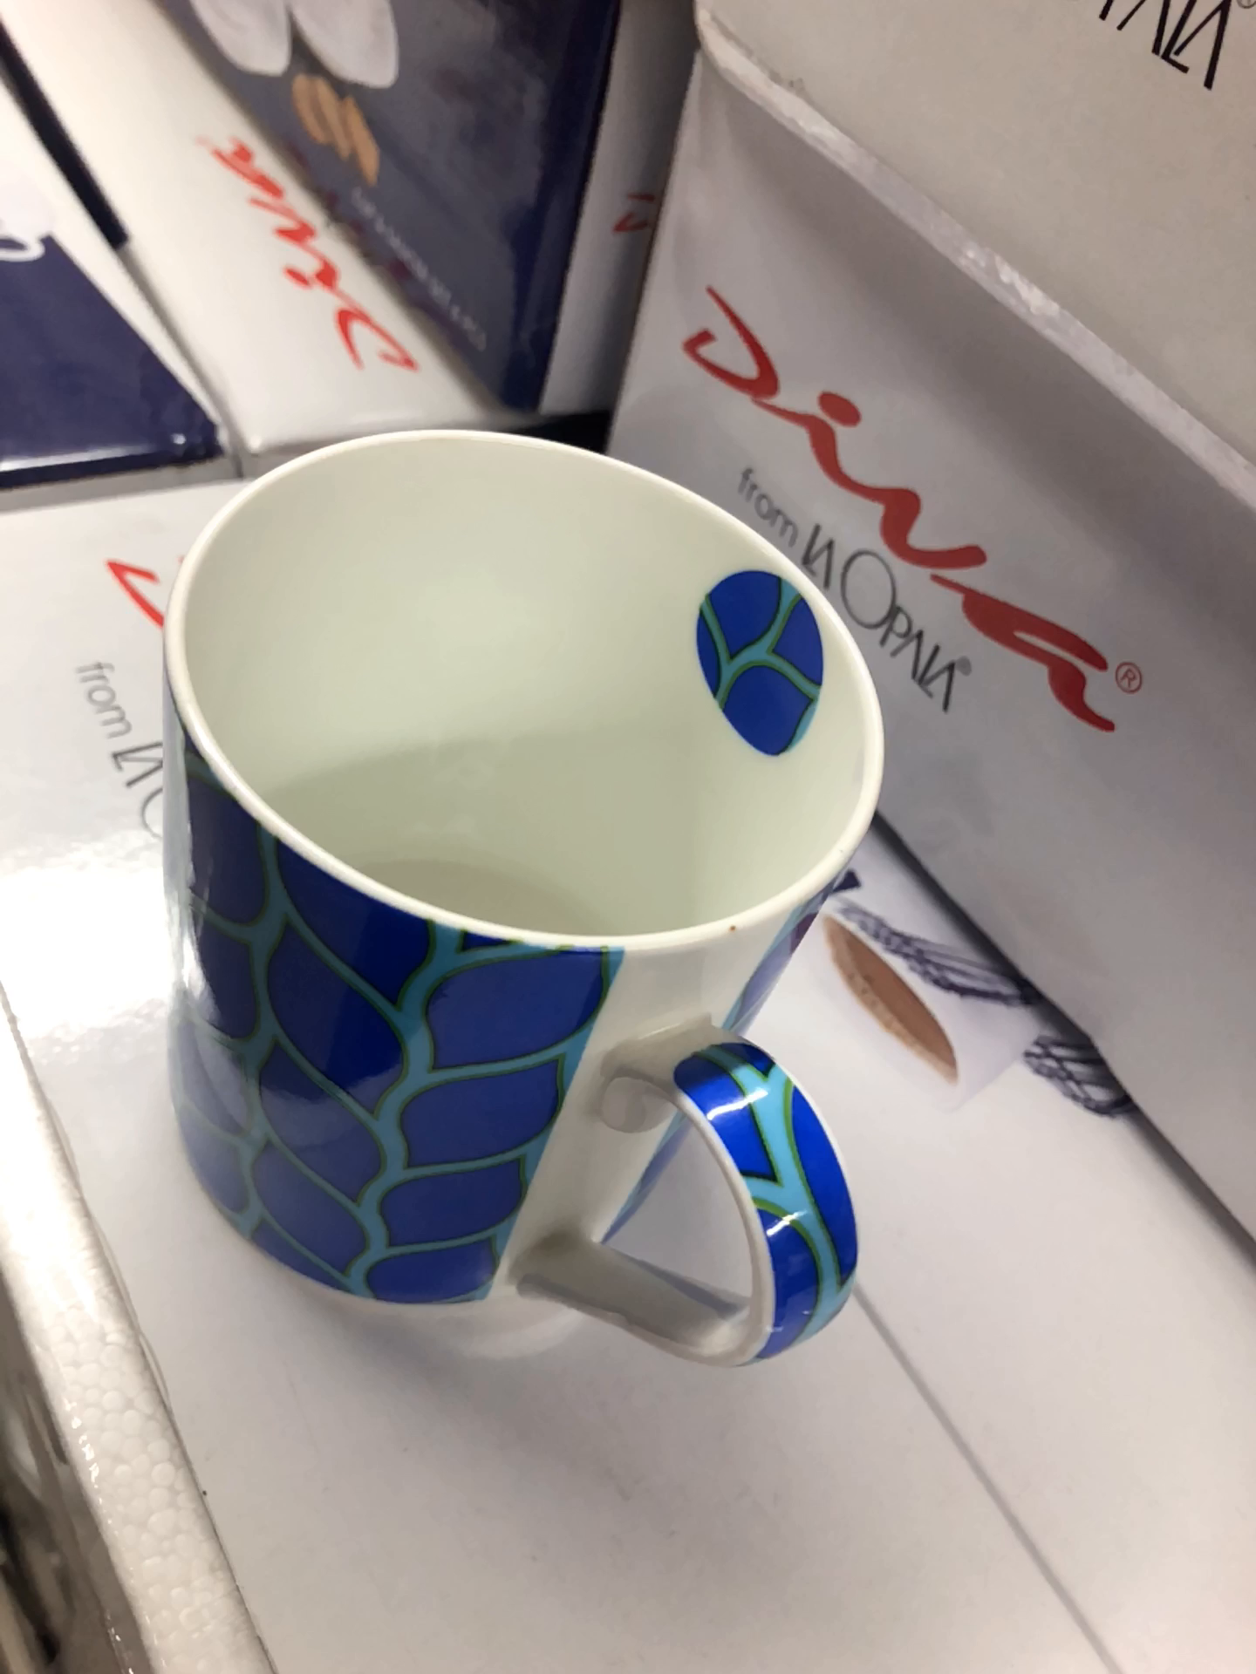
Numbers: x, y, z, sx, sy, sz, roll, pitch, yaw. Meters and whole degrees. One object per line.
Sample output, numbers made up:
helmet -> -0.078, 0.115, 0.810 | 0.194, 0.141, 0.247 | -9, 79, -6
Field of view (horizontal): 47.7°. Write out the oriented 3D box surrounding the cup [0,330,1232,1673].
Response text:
cup -> -0.016, 0.014, 0.179 | 0.080, 0.089, 0.120 | -20, 58, -30
